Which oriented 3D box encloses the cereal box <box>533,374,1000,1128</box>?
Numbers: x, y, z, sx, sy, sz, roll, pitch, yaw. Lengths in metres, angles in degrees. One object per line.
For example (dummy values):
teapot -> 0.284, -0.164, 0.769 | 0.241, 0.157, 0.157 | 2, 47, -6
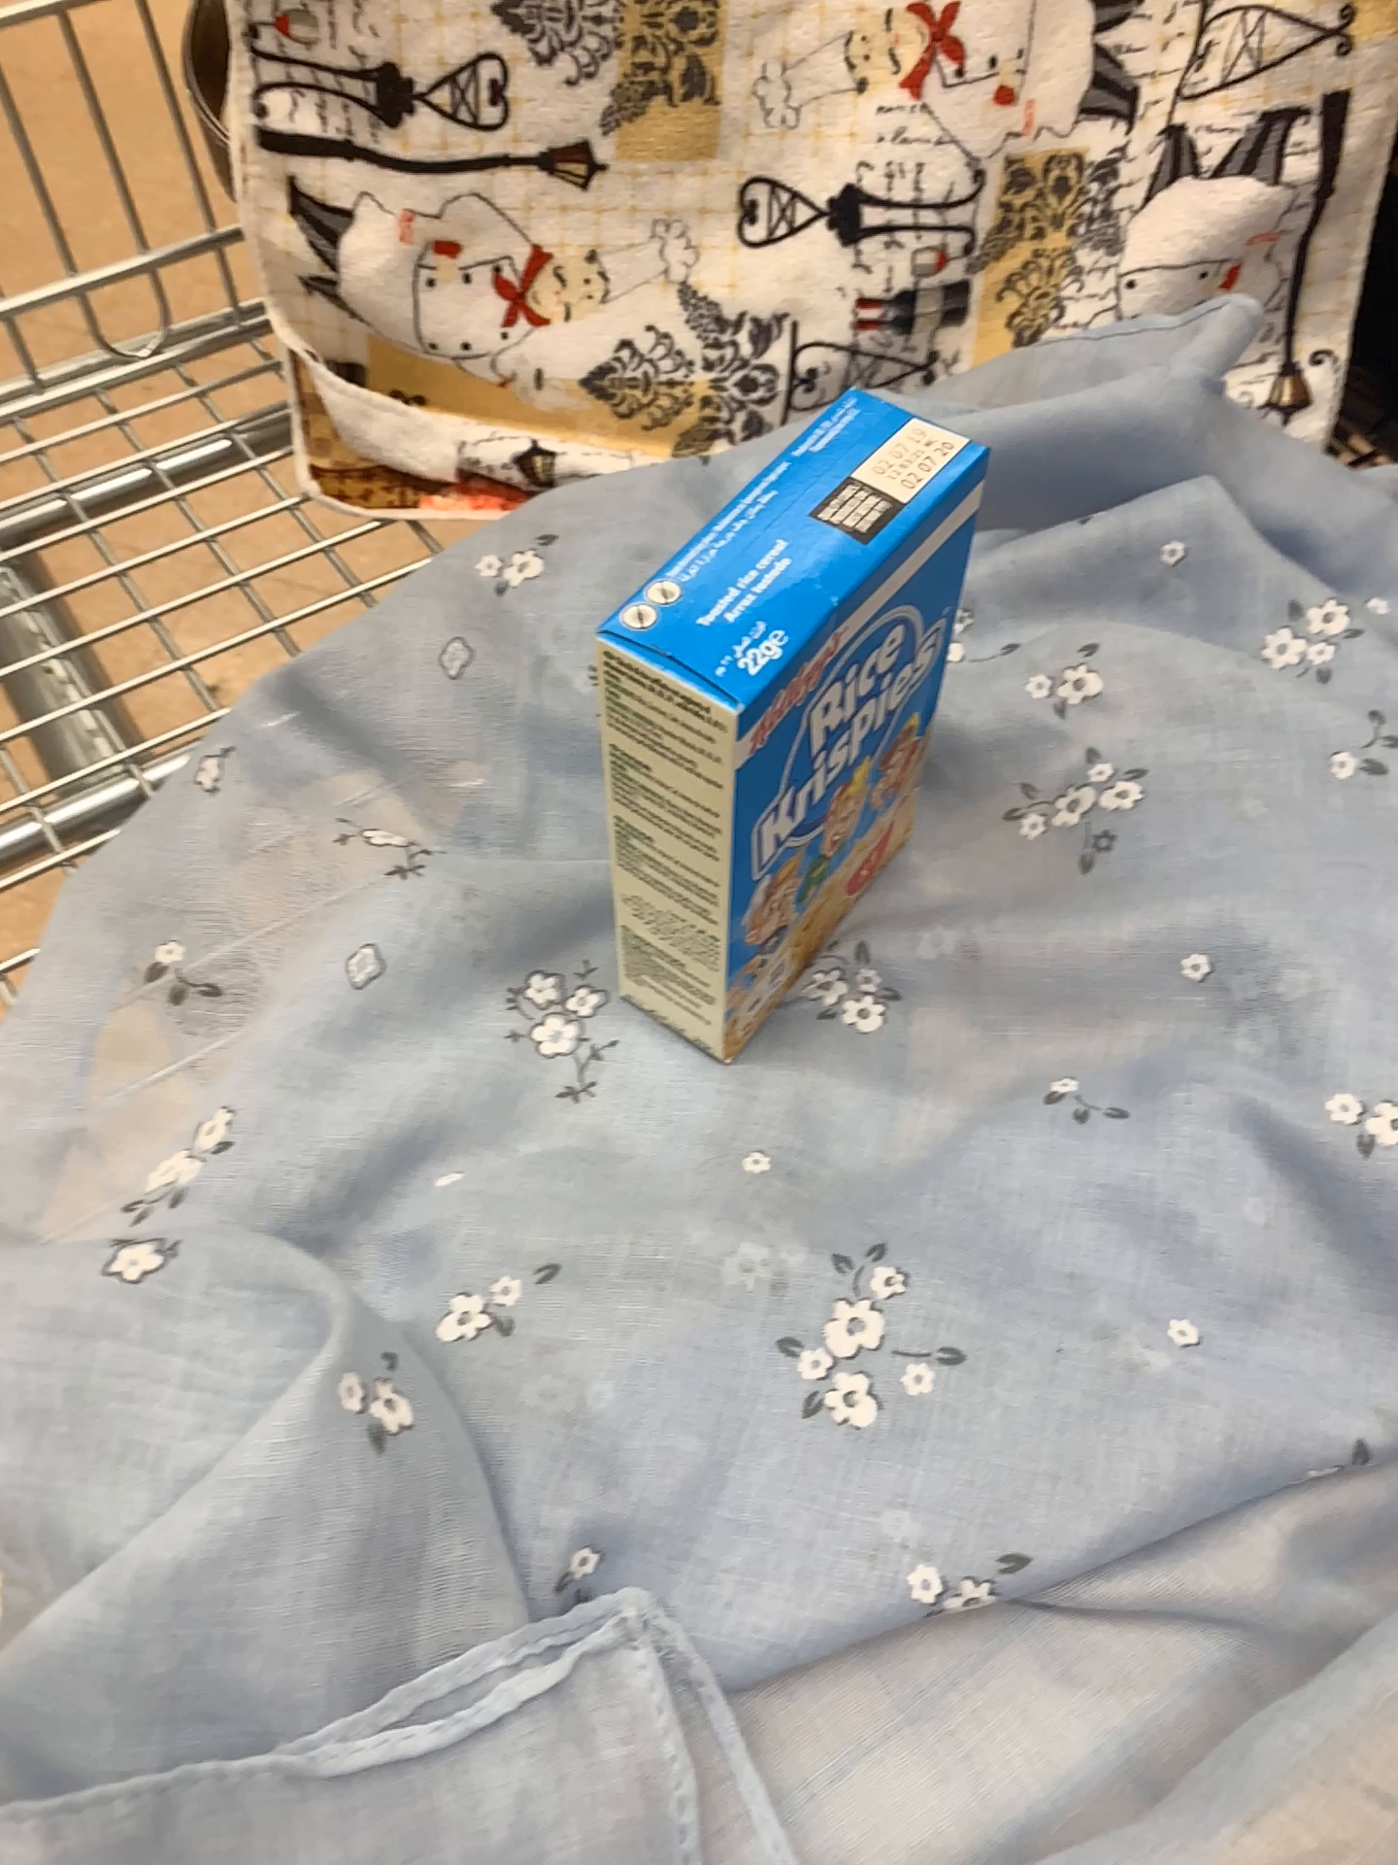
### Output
cereal box -> 0.013, -0.034, 0.326 | 0.040, 0.139, 0.101 | 30, 60, 16
